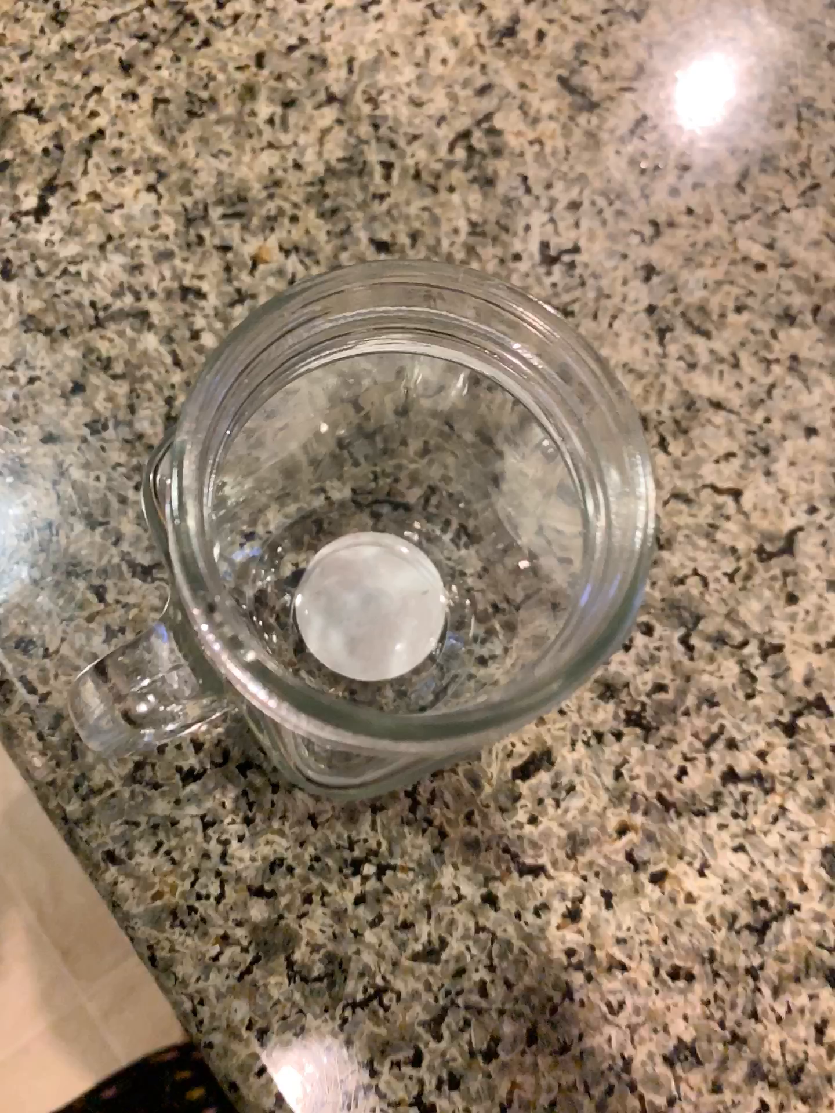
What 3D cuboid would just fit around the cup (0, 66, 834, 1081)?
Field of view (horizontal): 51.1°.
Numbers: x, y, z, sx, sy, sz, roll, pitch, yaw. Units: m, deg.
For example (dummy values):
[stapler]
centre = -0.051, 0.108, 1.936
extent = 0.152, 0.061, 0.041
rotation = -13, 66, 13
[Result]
[cup]
centre = -0.022, 0.004, 0.169
extent = 0.120, 0.120, 0.080
rotation = -31, 84, -12
